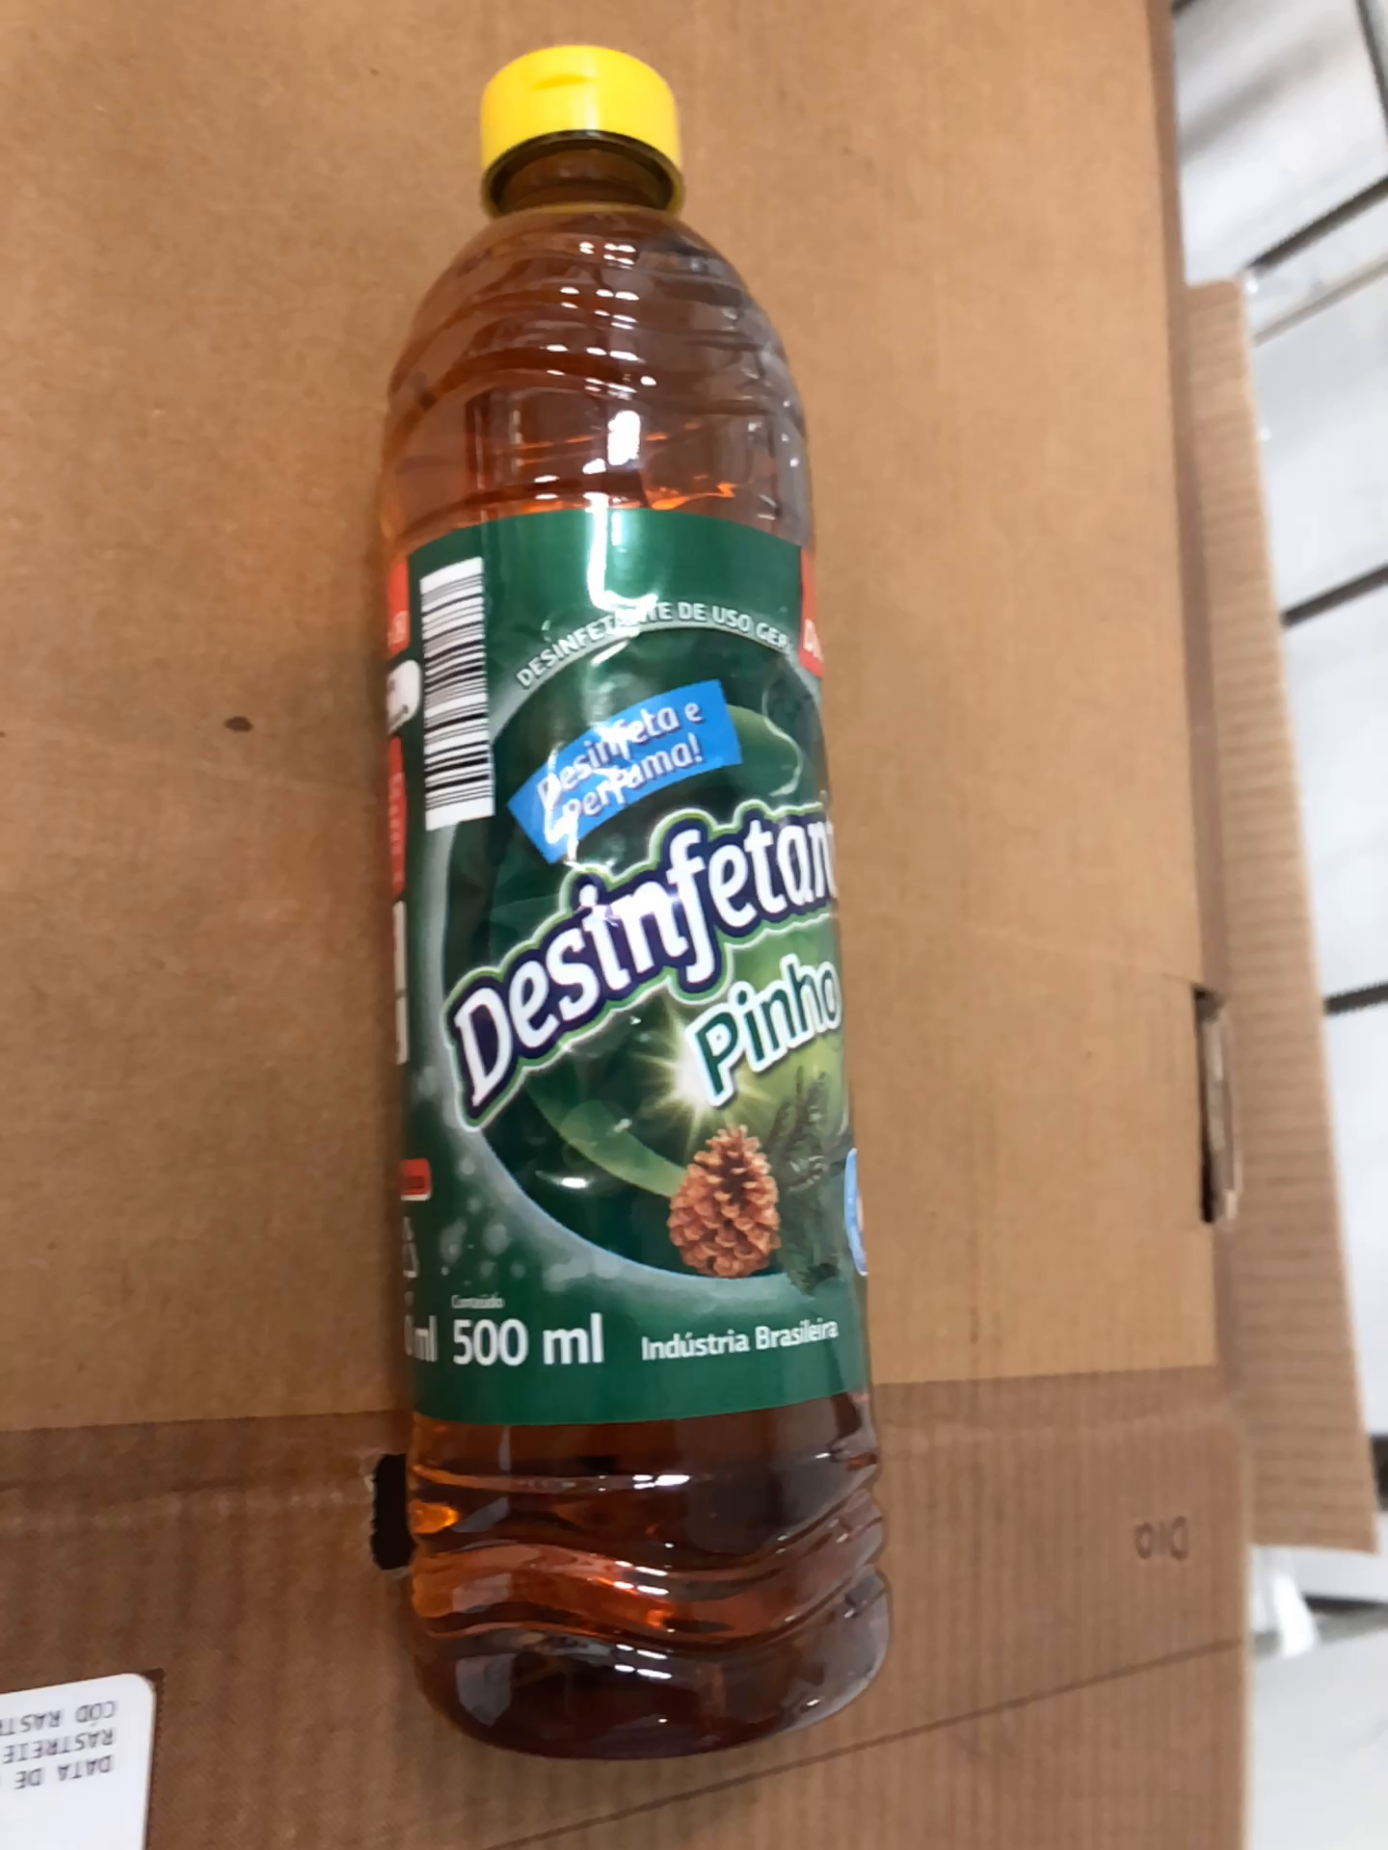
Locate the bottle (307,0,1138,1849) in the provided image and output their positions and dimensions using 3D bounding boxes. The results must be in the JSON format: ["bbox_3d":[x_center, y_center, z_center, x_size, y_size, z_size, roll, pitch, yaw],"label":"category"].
[{"bbox_3d":[-0.006,-0.011,0.200,0.060,0.070,0.220,0,77,-28],"label":"bottle"}]
